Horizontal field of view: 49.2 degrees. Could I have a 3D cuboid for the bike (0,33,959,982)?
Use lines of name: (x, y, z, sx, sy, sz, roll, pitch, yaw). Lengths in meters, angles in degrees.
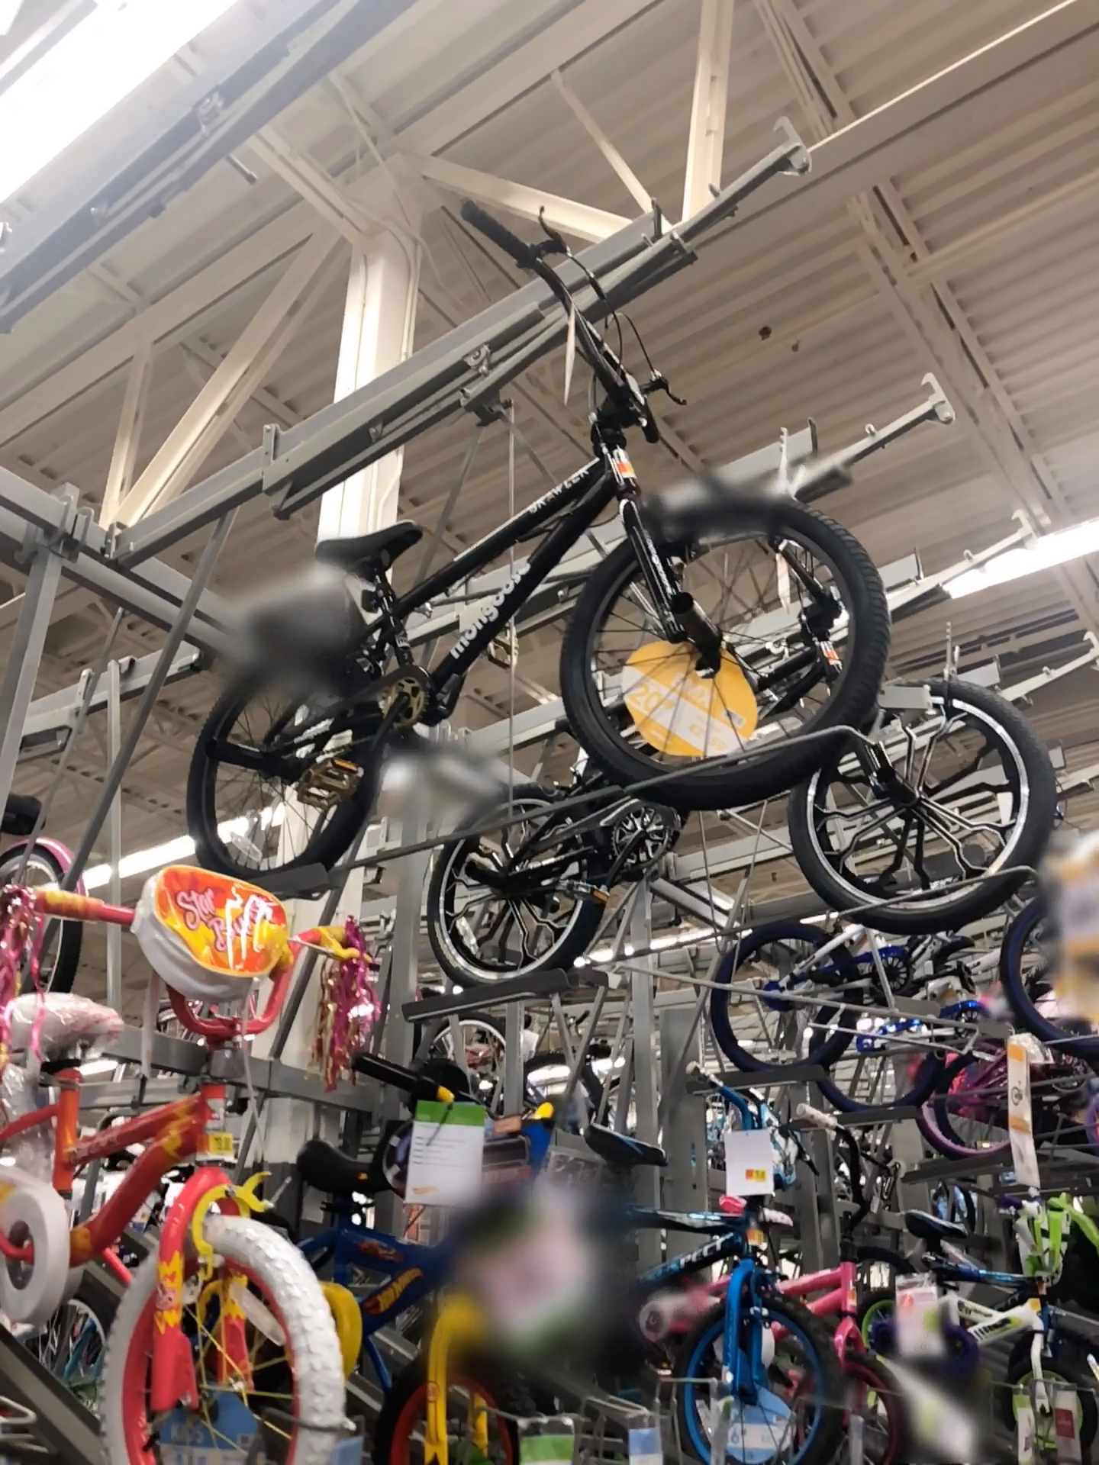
bike: (-0.180, -0.218, 2.006, 1.350, 0.909, 0.751, -17, -32, 30)
